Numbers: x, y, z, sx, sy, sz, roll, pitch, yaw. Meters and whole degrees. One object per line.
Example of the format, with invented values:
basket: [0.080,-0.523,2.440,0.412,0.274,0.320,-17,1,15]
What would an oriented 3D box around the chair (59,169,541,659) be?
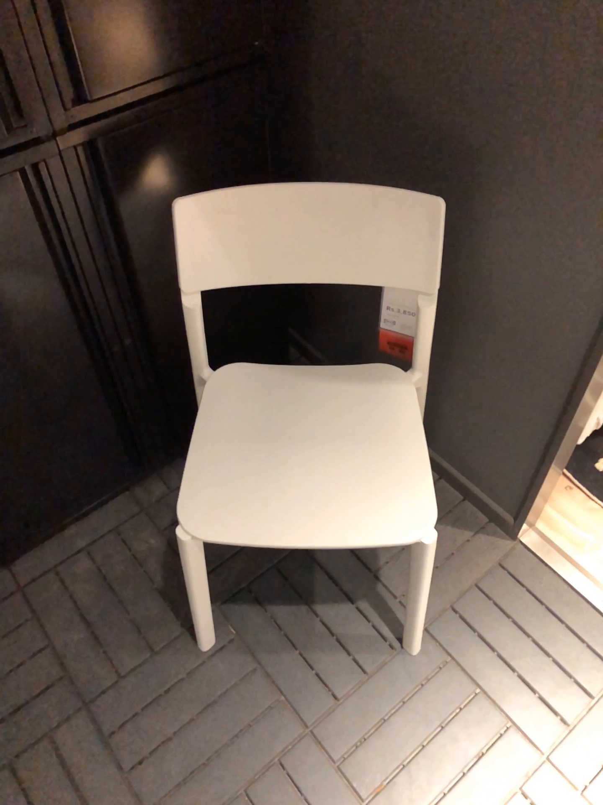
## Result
chair: [0.008,0.059,1.107,0.500,0.706,0.473,1,50,2]
